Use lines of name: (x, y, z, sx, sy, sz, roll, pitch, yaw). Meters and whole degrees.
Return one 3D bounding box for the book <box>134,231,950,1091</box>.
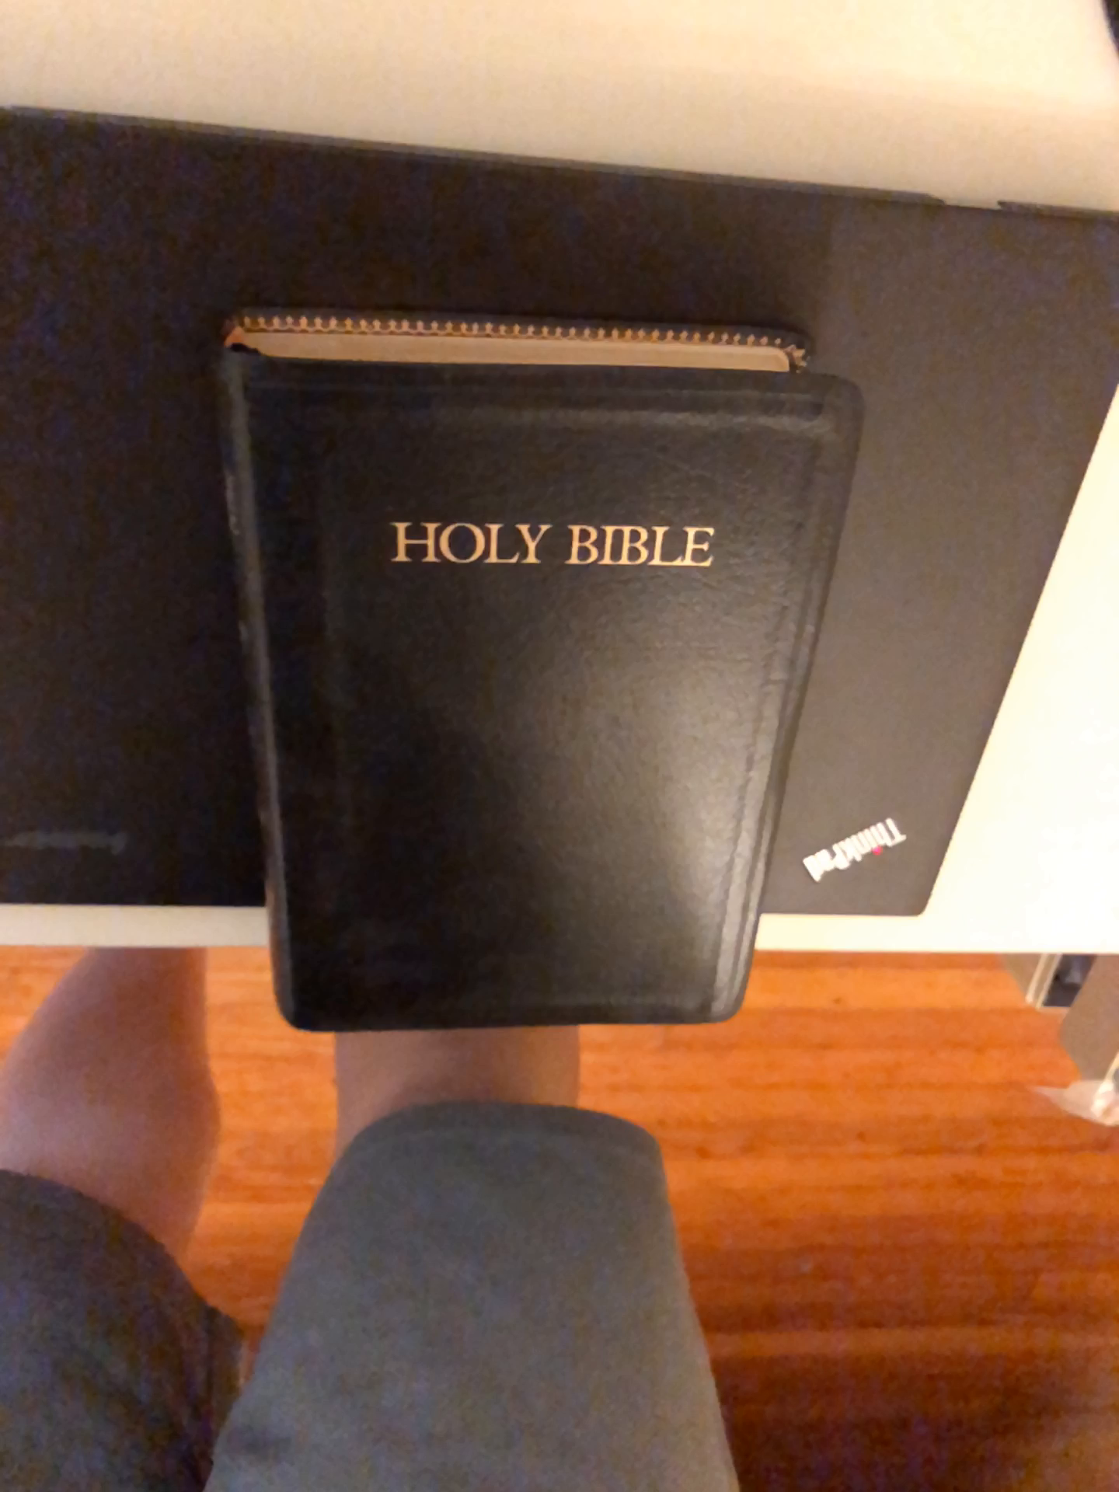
book: (-0.010, -0.005, 0.341, 0.170, 0.040, 0.241, 0, 124, -7)
